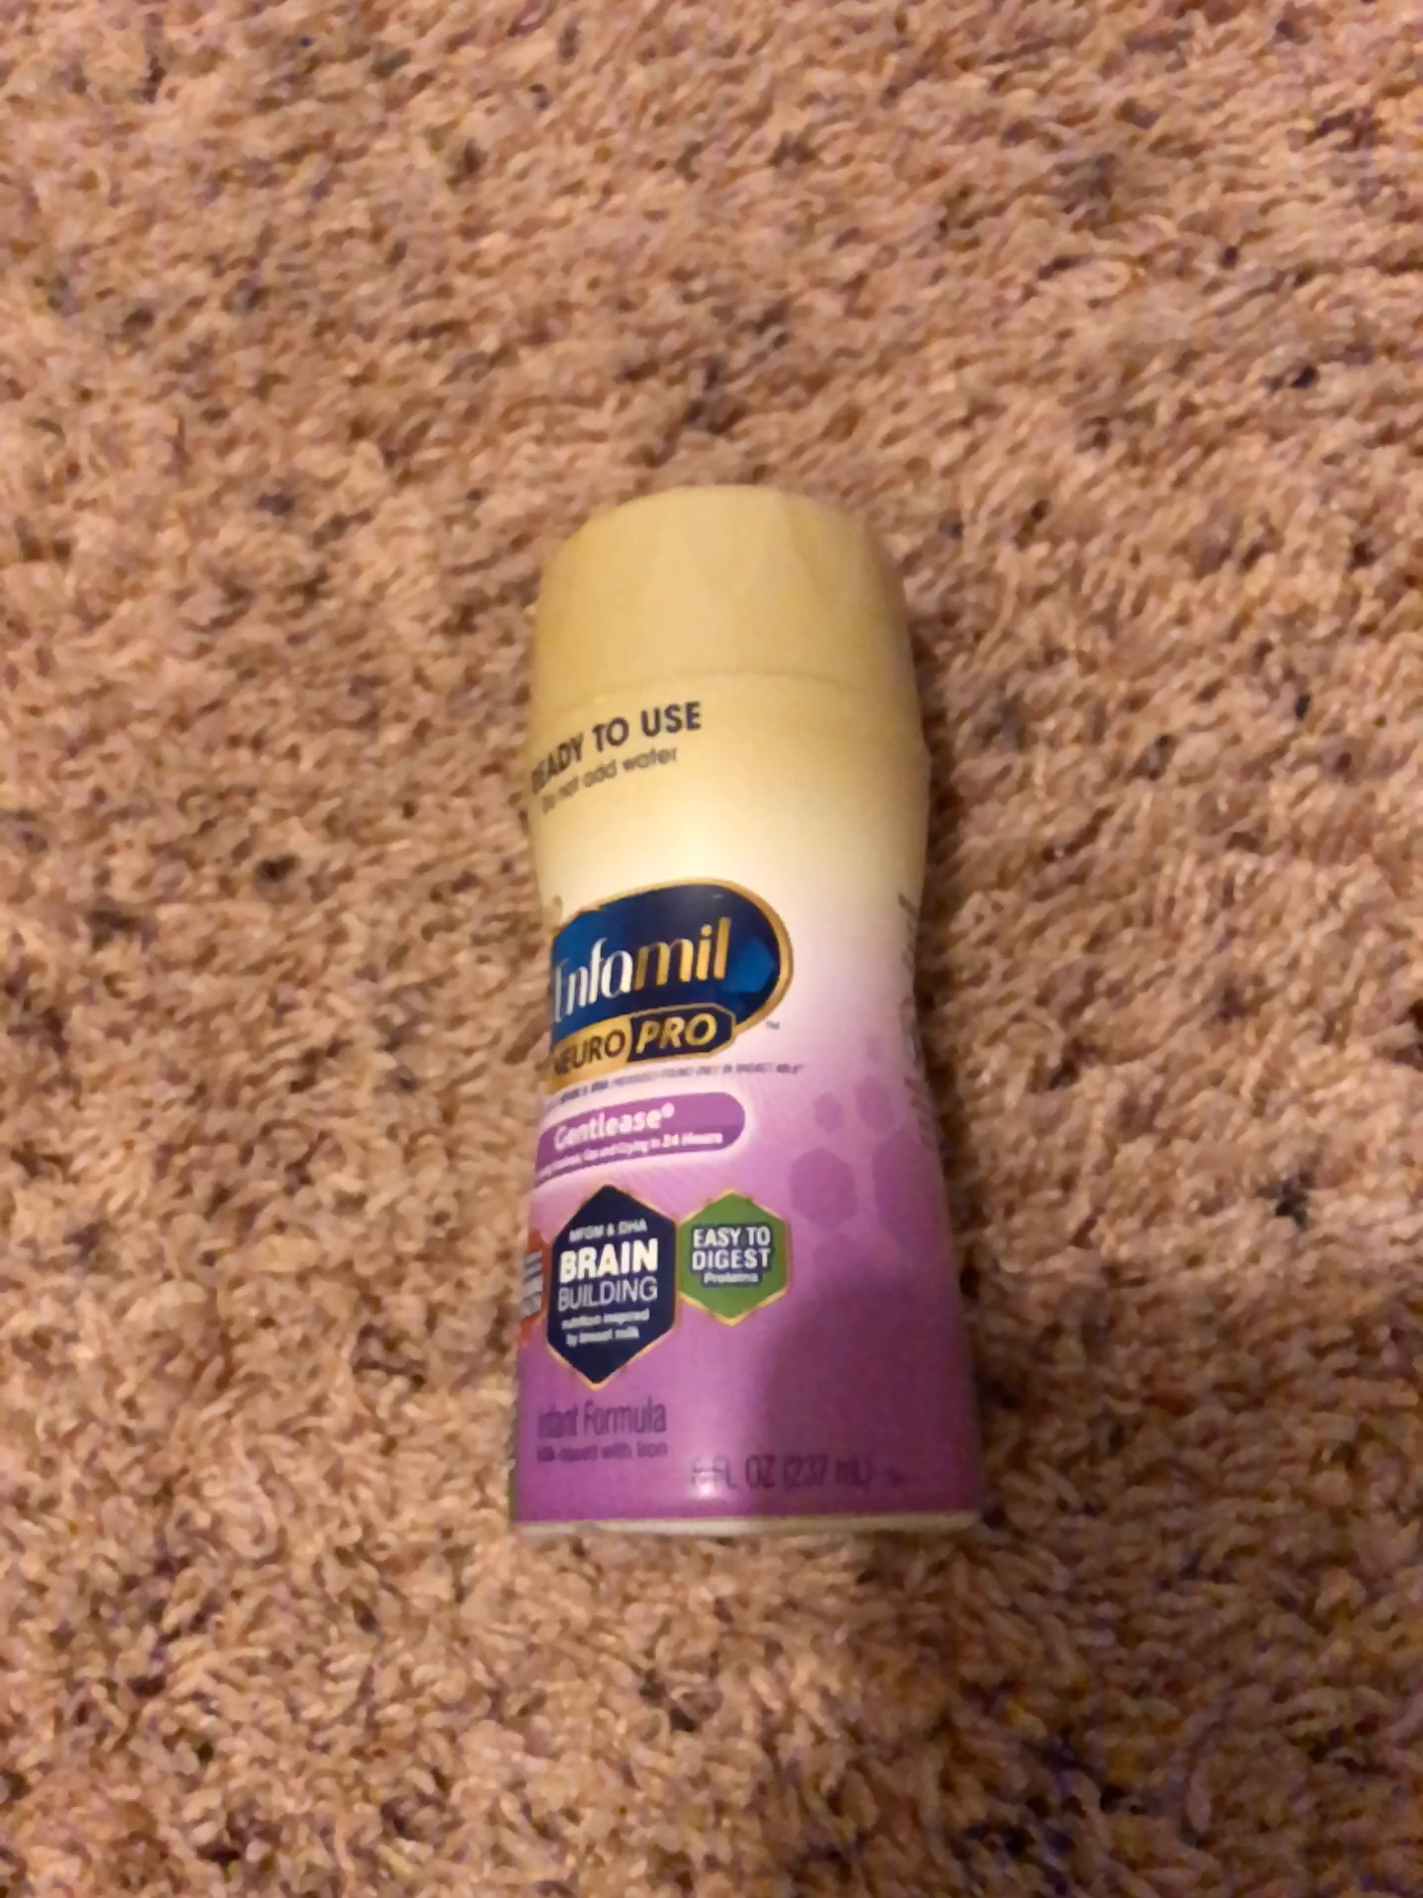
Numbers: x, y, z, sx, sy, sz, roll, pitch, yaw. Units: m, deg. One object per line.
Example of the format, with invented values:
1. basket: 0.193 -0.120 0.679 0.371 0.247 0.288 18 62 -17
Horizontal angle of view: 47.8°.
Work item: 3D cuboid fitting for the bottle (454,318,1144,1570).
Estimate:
1. bottle: 0.008 0.004 0.221 0.060 0.060 0.150 -25 60 49
